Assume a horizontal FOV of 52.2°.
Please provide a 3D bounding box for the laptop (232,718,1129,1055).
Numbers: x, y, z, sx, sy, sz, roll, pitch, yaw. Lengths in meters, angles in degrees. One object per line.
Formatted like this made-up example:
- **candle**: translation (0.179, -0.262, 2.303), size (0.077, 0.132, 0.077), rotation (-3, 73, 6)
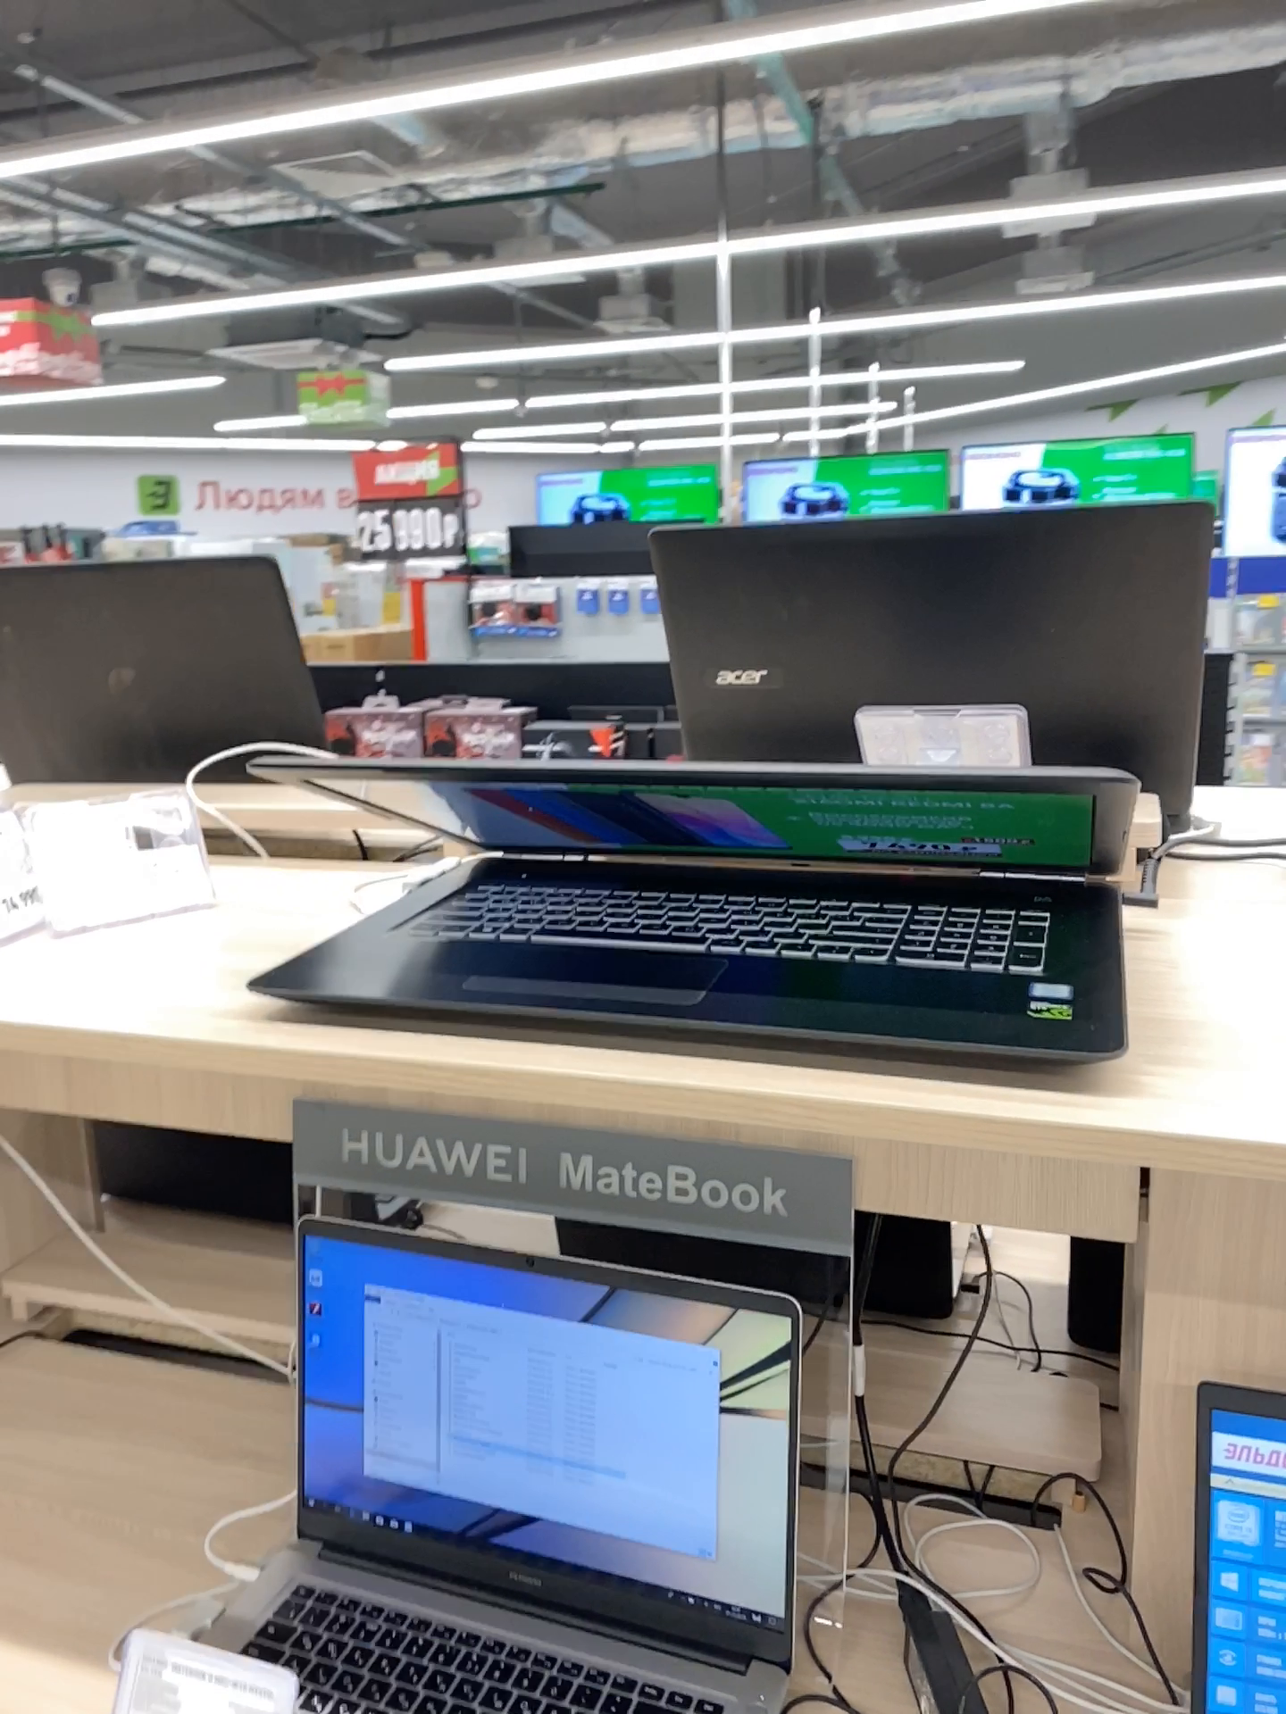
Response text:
- **laptop**: translation (0.037, -0.007, 0.707), size (0.414, 0.095, 0.269), rotation (2, 14, 19)
